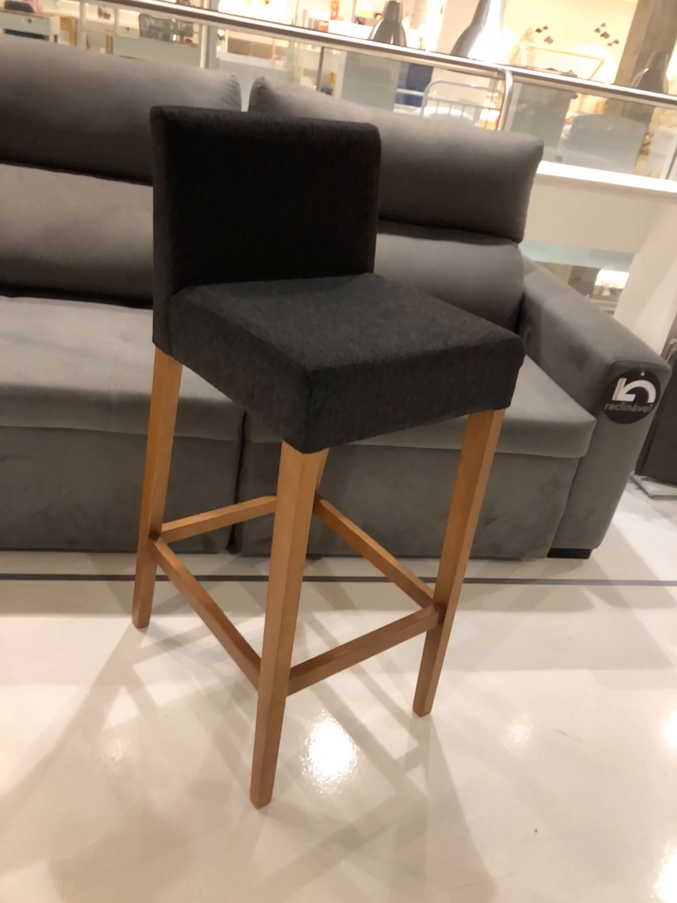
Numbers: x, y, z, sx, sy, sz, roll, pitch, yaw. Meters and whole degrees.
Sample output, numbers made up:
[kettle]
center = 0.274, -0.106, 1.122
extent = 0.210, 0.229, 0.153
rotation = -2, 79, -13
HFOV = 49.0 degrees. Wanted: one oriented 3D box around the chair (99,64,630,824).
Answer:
[chair]
center = -0.050, -0.038, 1.236
extent = 0.452, 0.973, 0.582
rotation = -12, 34, -38
